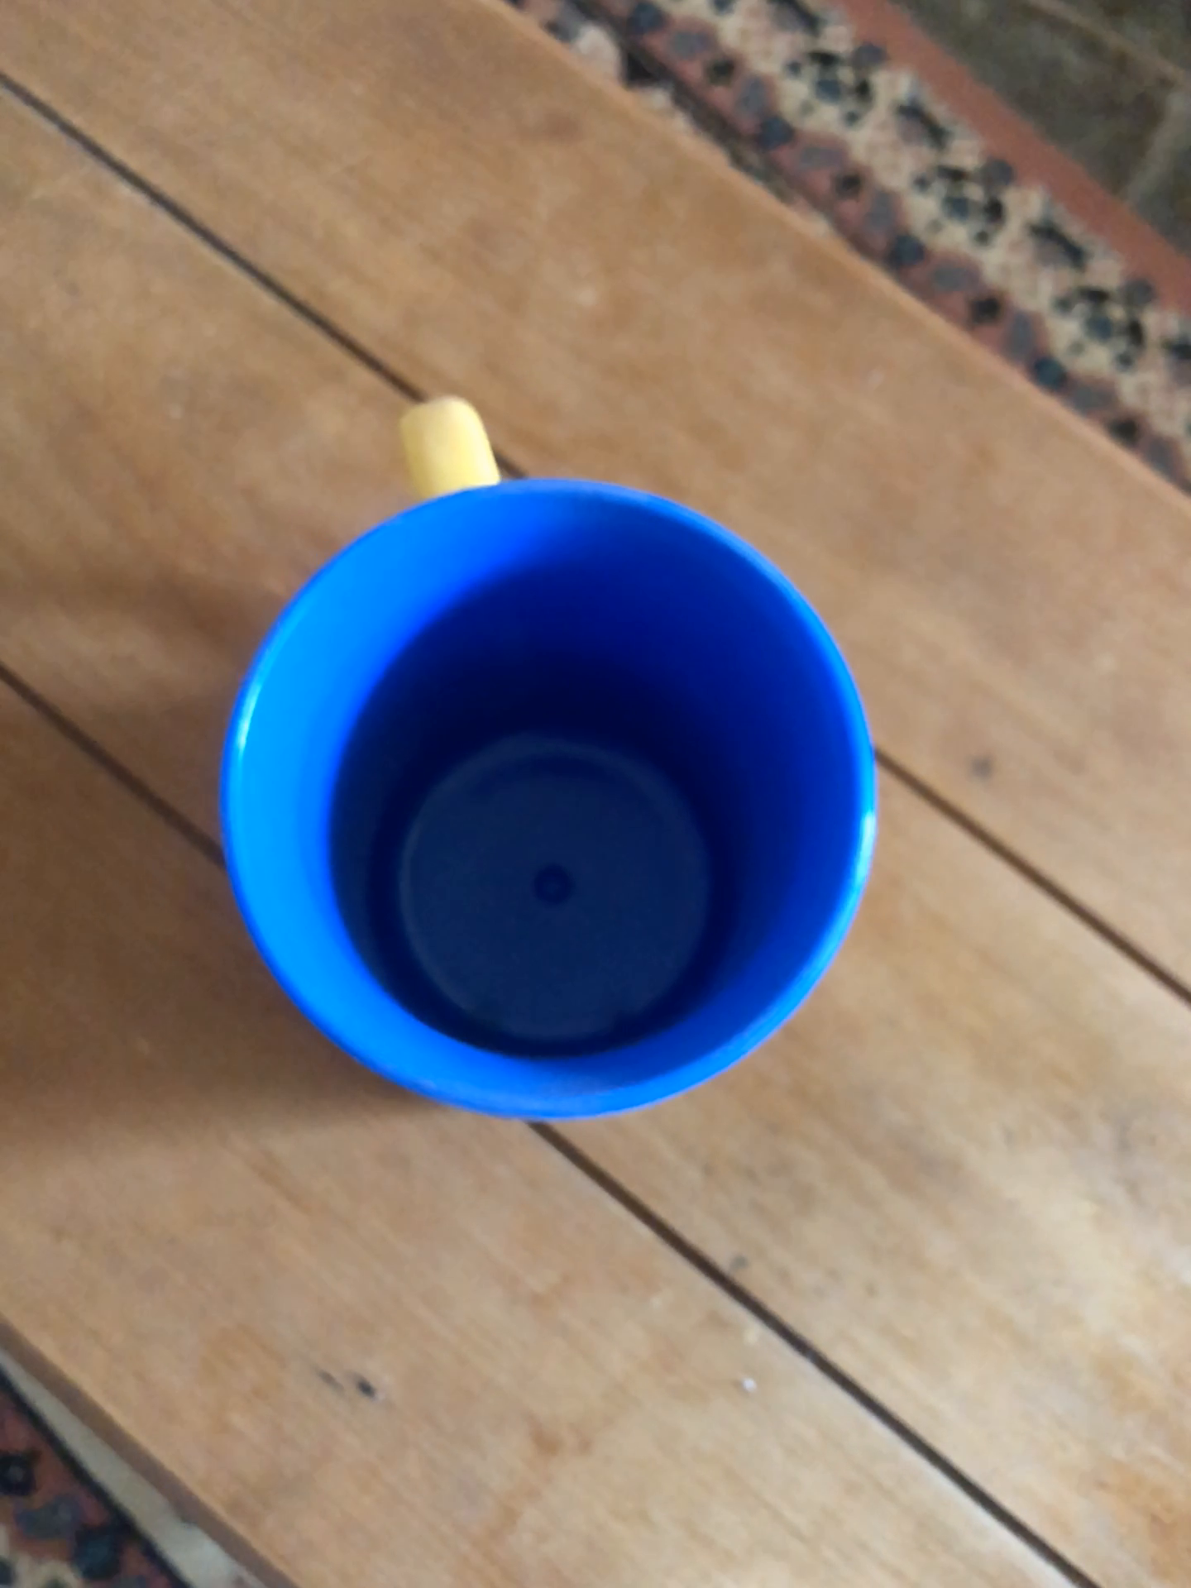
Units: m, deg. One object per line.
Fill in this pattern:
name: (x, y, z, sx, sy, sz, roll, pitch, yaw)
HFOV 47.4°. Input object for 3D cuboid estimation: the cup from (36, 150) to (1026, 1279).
cup: (-0.013, -0.005, 0.215, 0.090, 0.110, 0.120, -15, 79, -5)
